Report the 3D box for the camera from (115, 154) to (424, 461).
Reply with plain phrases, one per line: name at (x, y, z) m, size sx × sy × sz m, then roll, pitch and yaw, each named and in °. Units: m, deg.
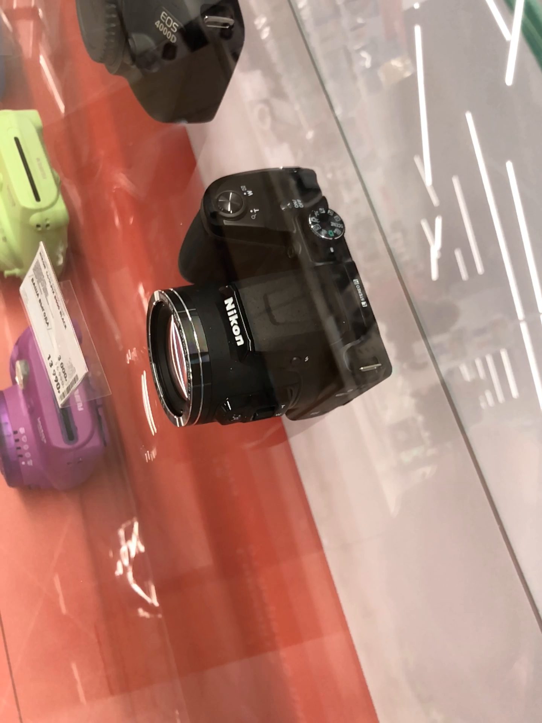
camera at (-0.007, -0.027, 0.286) m, size 0.100 × 0.070 × 0.115 m, roll -10°, pitch 74°, yaw -25°
